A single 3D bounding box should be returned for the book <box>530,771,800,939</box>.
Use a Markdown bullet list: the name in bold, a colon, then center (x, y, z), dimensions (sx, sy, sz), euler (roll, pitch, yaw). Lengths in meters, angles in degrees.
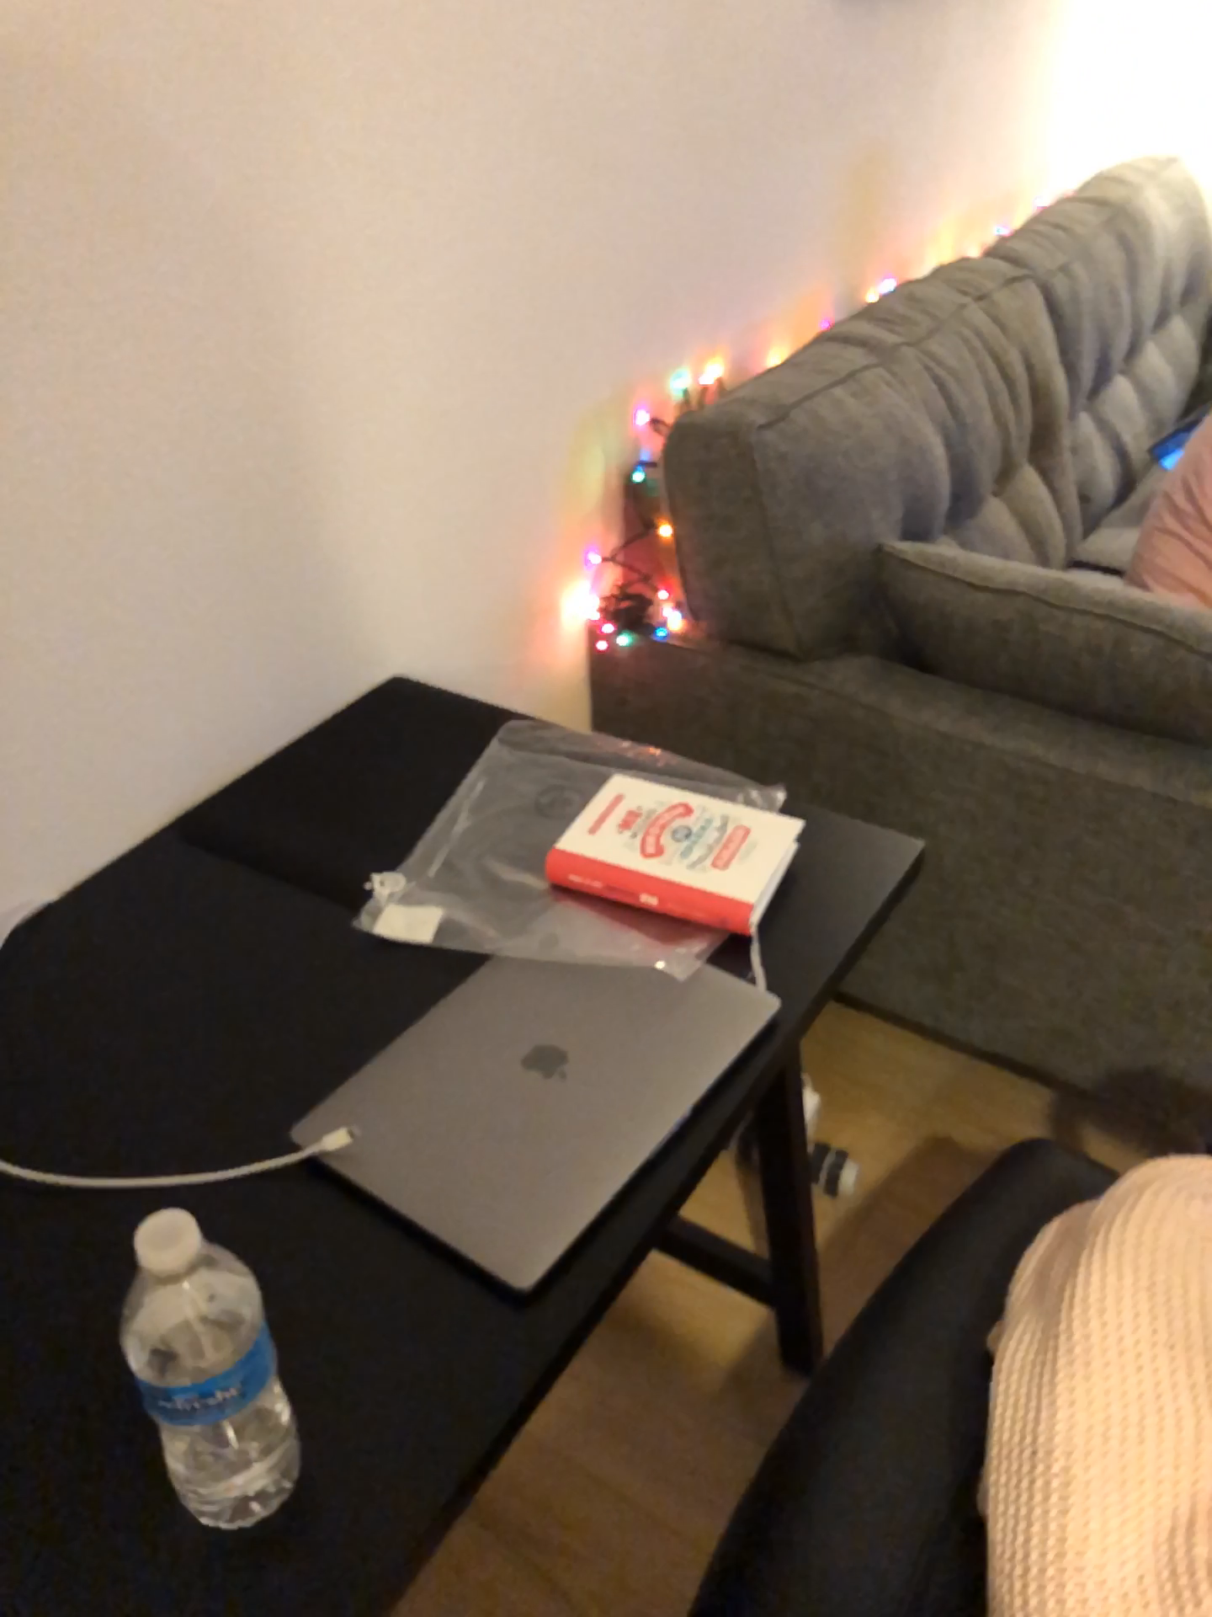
- **book**: center (0.052, 0.035, 1.143), dimensions (0.190, 0.030, 0.141), euler (12, 37, 19)
